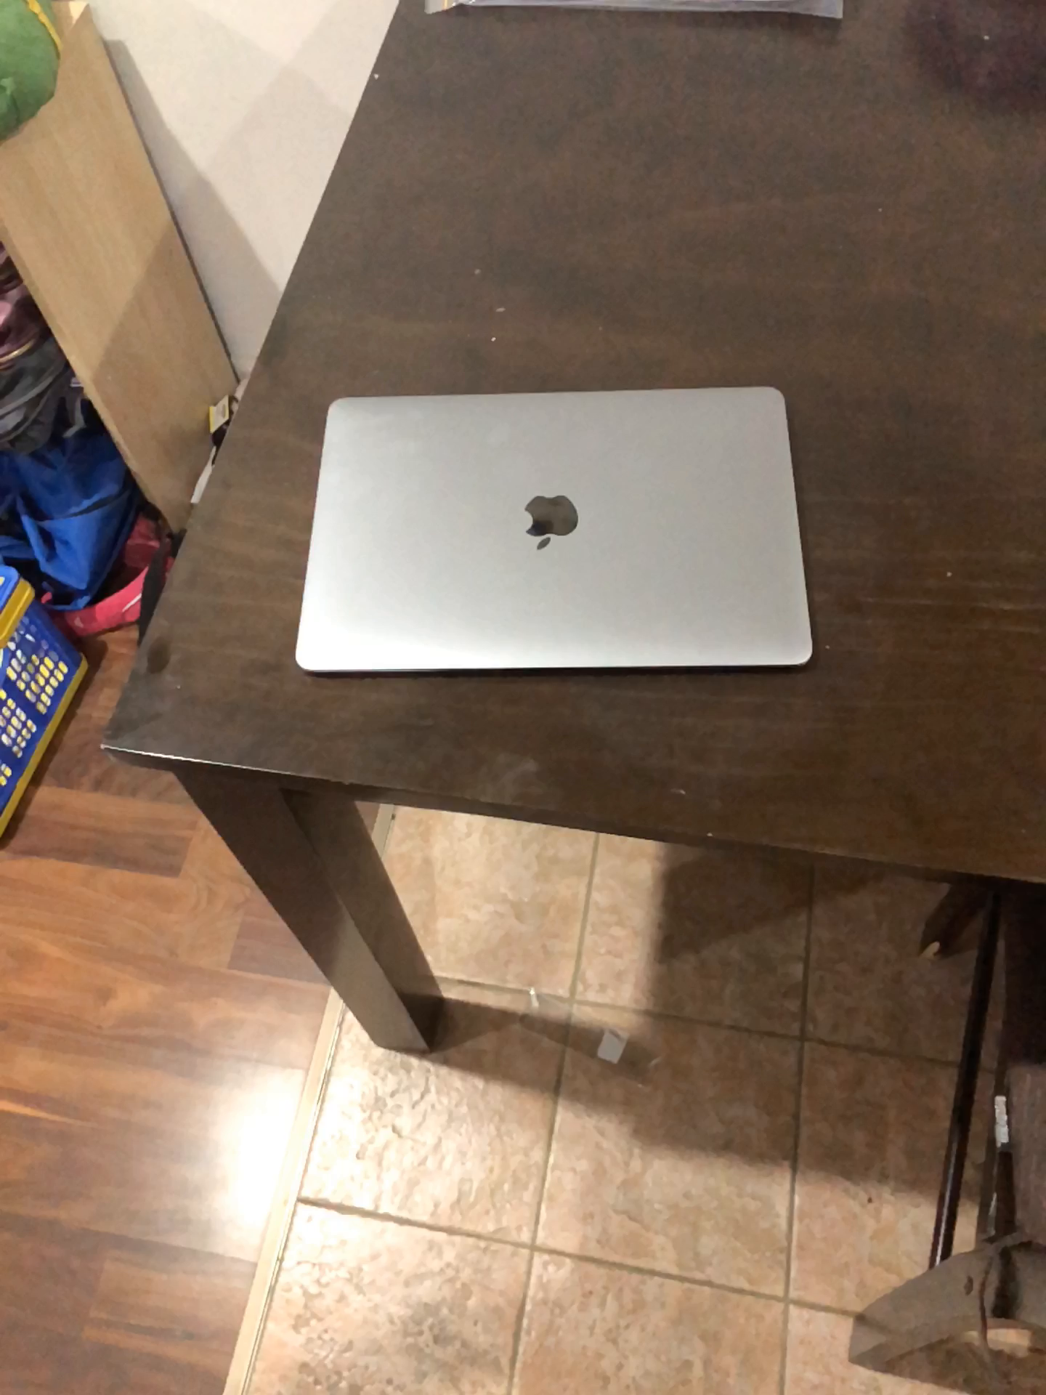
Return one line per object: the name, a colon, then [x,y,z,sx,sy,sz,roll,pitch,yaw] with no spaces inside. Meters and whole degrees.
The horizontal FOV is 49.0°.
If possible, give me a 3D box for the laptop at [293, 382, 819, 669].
laptop: [0.018,-0.103,0.650,0.275,0.002,0.196,-1,60,1]
